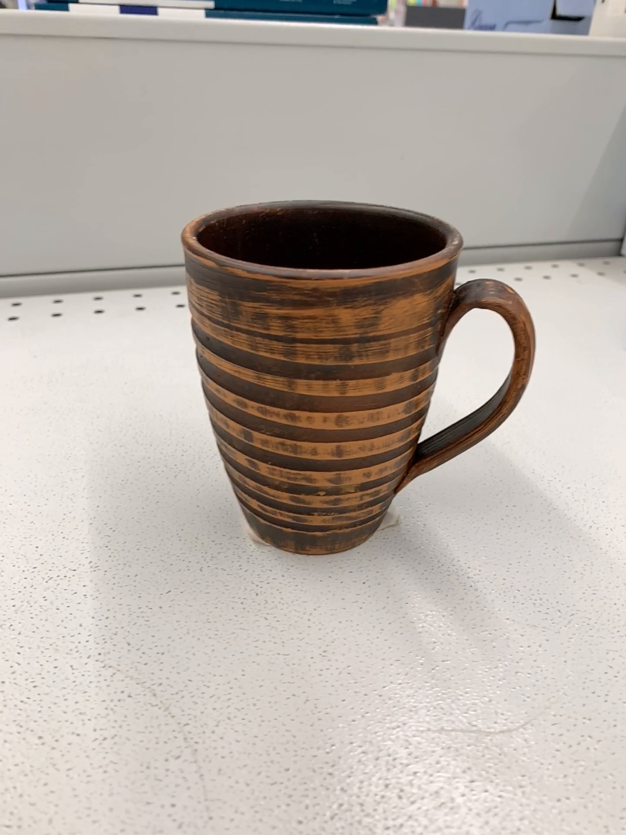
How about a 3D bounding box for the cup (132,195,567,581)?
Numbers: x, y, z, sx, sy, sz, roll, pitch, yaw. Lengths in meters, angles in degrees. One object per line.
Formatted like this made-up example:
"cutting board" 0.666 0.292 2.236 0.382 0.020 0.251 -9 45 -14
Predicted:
"cup" 0.012 -0.016 0.215 0.106 0.089 0.084 6 30 7
